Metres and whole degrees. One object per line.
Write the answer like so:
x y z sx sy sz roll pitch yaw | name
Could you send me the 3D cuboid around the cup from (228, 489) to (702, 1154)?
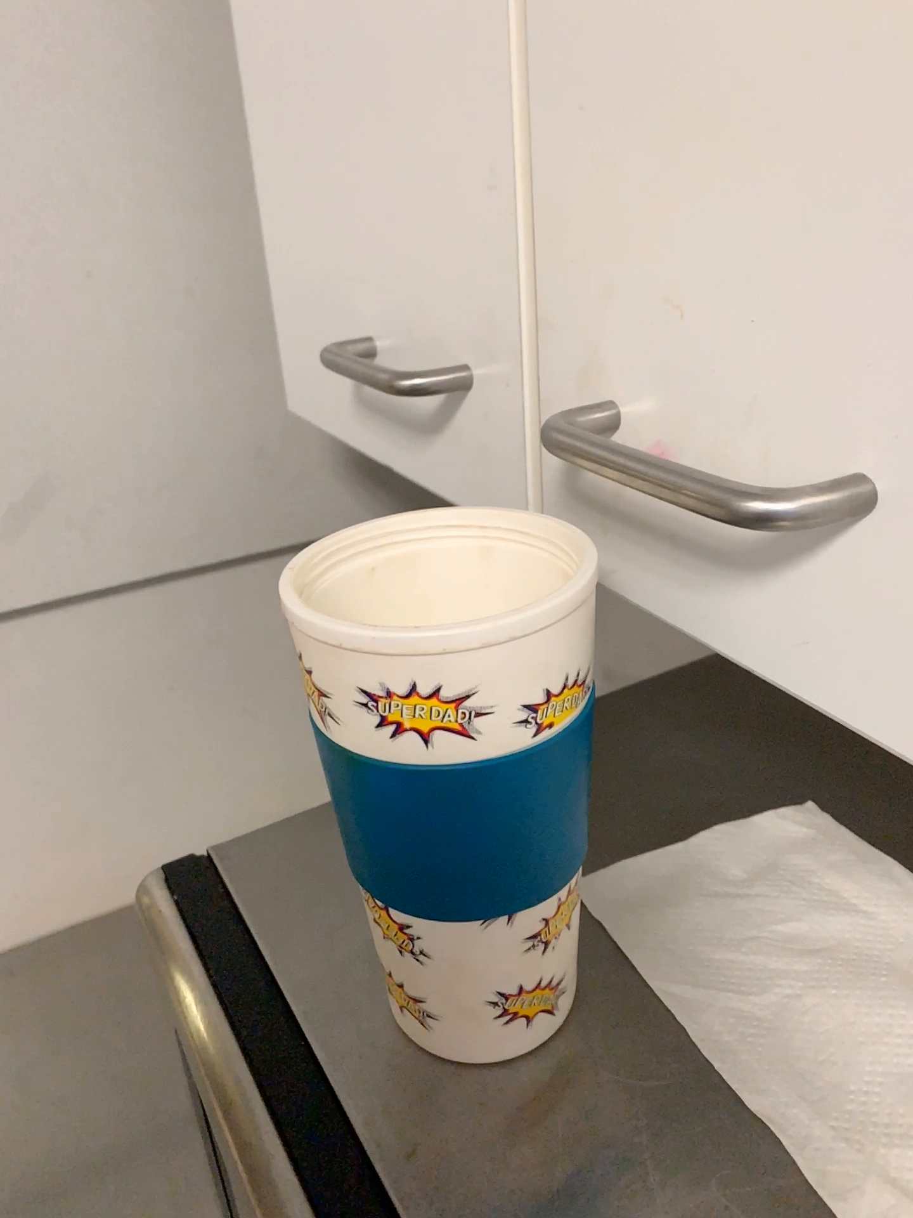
0.003 0.054 0.288 0.096 0.146 0.093 -4 23 2 | cup
